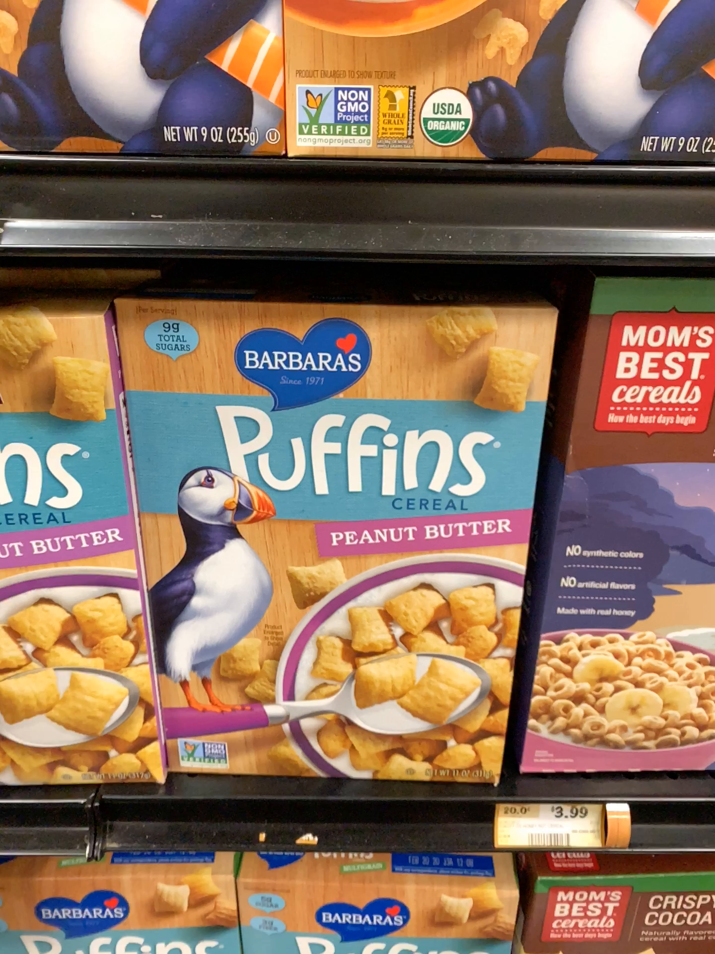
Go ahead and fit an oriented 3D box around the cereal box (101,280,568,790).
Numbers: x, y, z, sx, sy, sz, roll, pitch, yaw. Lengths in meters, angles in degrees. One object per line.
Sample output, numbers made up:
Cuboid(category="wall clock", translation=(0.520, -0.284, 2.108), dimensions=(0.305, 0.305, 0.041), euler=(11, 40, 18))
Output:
Cuboid(category="cereal box", translation=(-0.012, 0.034, 0.395), dimensions=(0.200, 0.259, 0.070), euler=(2, 20, 1))
